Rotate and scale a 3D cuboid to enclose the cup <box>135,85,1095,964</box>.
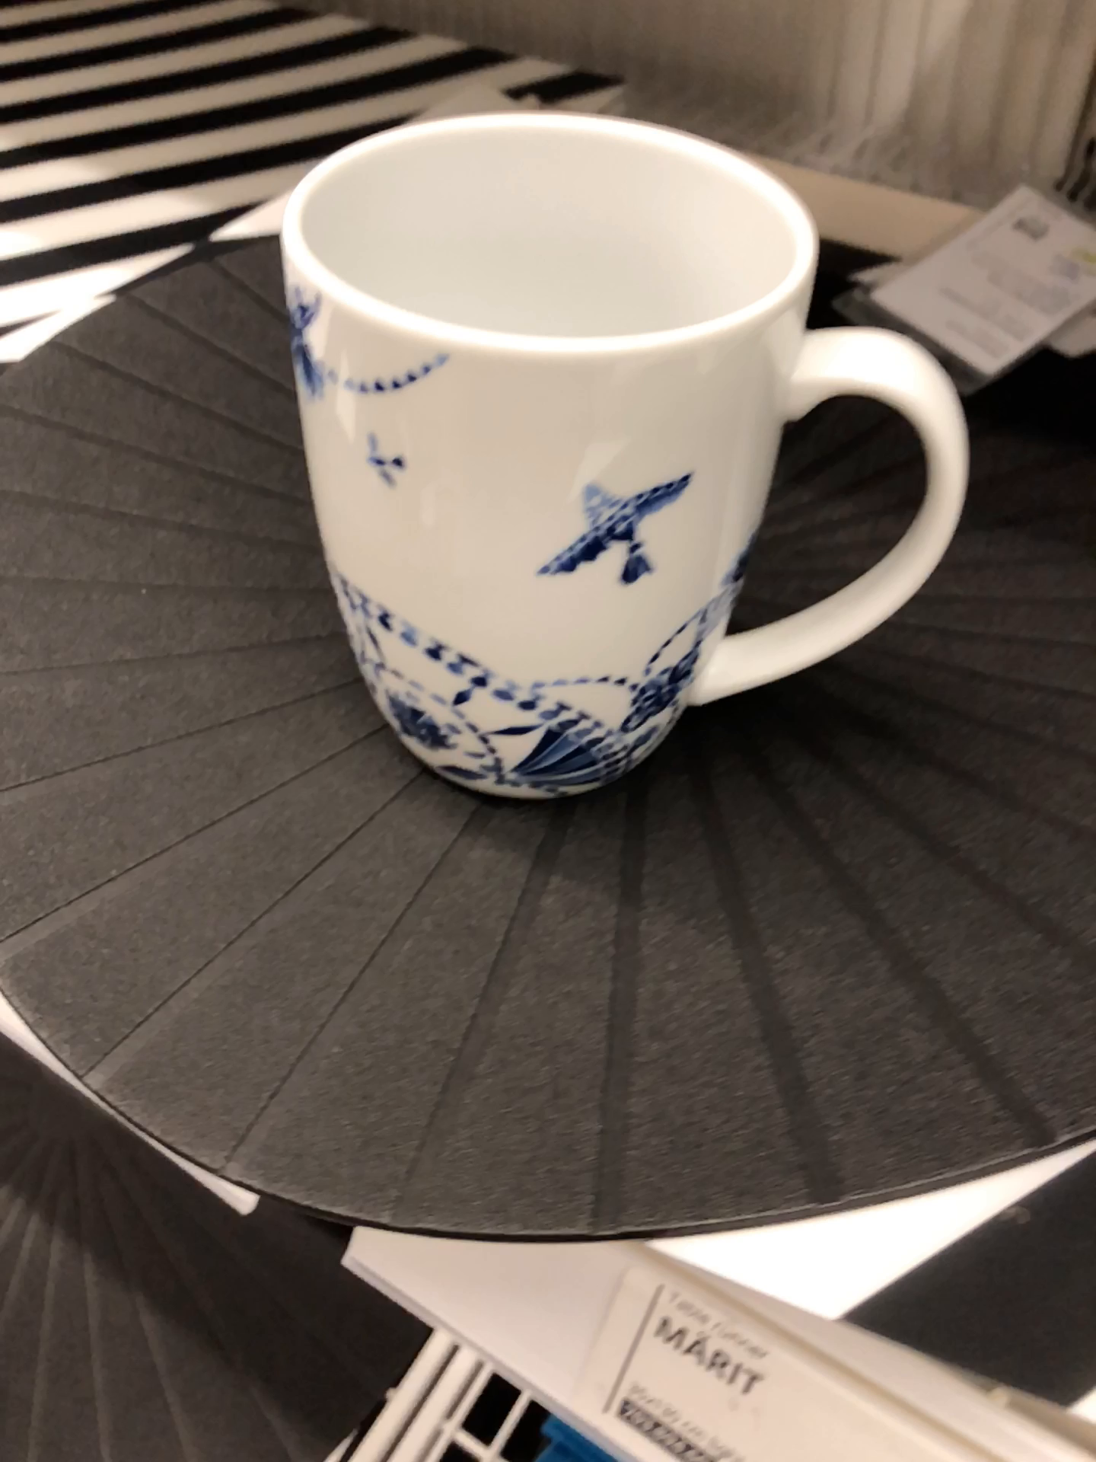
[{"bbox_3d":[0.018,-0.043,0.232,0.130,0.100,0.100,15,47,13],"label":"cup"}]
